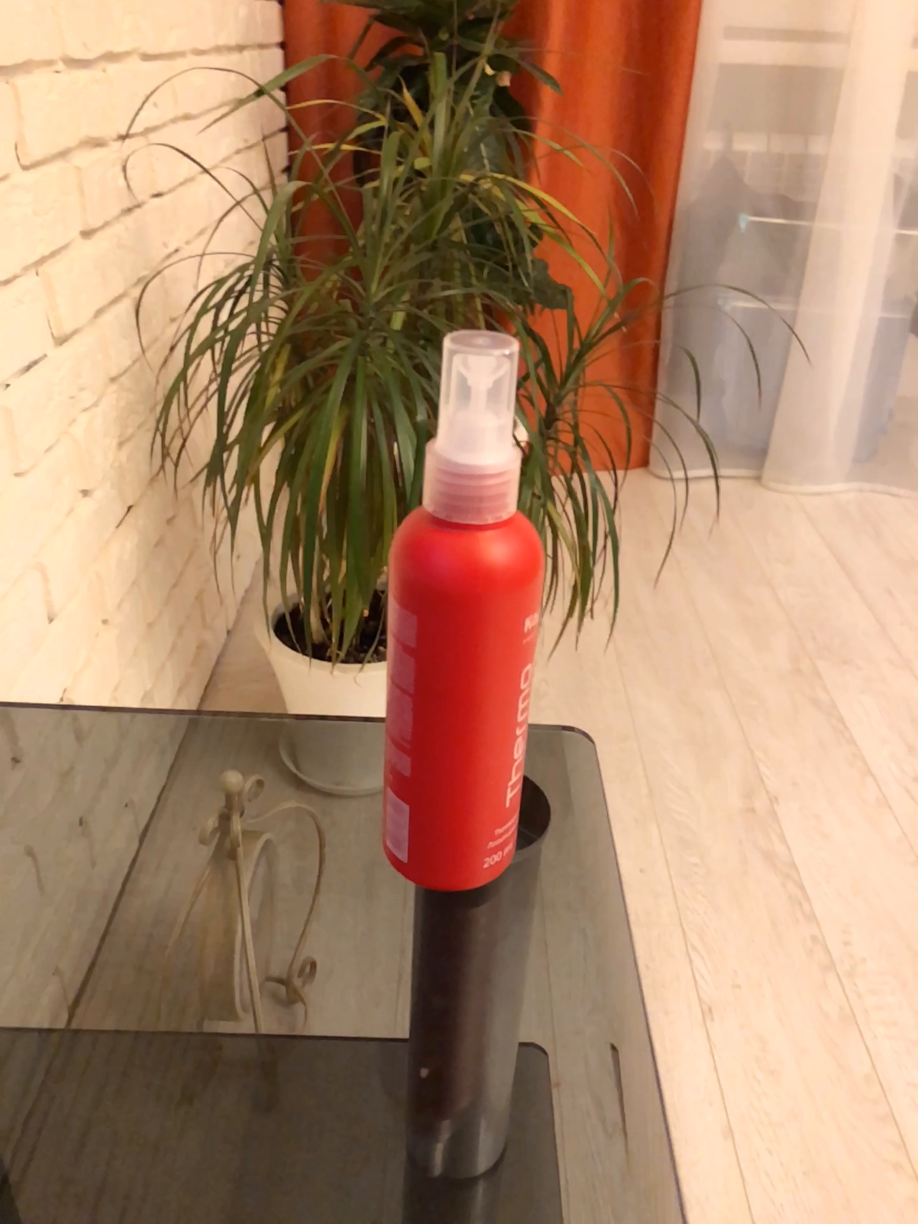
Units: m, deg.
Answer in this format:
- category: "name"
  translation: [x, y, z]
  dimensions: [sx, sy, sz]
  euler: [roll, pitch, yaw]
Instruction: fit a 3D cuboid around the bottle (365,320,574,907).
- category: "bottle"
  translation: [0.001, 0.007, 0.315]
  dimensions: [0.052, 0.179, 0.048]
  euler: [2, 29, -1]
